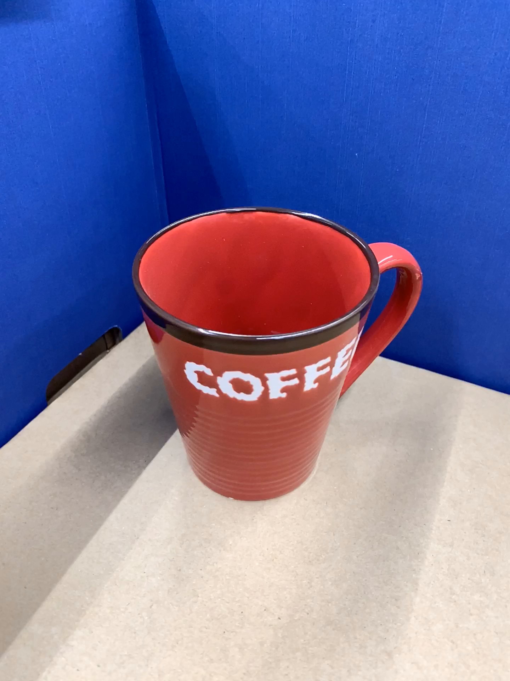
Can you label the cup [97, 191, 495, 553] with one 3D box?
[{"bbox_3d":[0.010,0.003,0.237,0.125,0.091,0.101,-14,39,-19],"label":"cup"}]
